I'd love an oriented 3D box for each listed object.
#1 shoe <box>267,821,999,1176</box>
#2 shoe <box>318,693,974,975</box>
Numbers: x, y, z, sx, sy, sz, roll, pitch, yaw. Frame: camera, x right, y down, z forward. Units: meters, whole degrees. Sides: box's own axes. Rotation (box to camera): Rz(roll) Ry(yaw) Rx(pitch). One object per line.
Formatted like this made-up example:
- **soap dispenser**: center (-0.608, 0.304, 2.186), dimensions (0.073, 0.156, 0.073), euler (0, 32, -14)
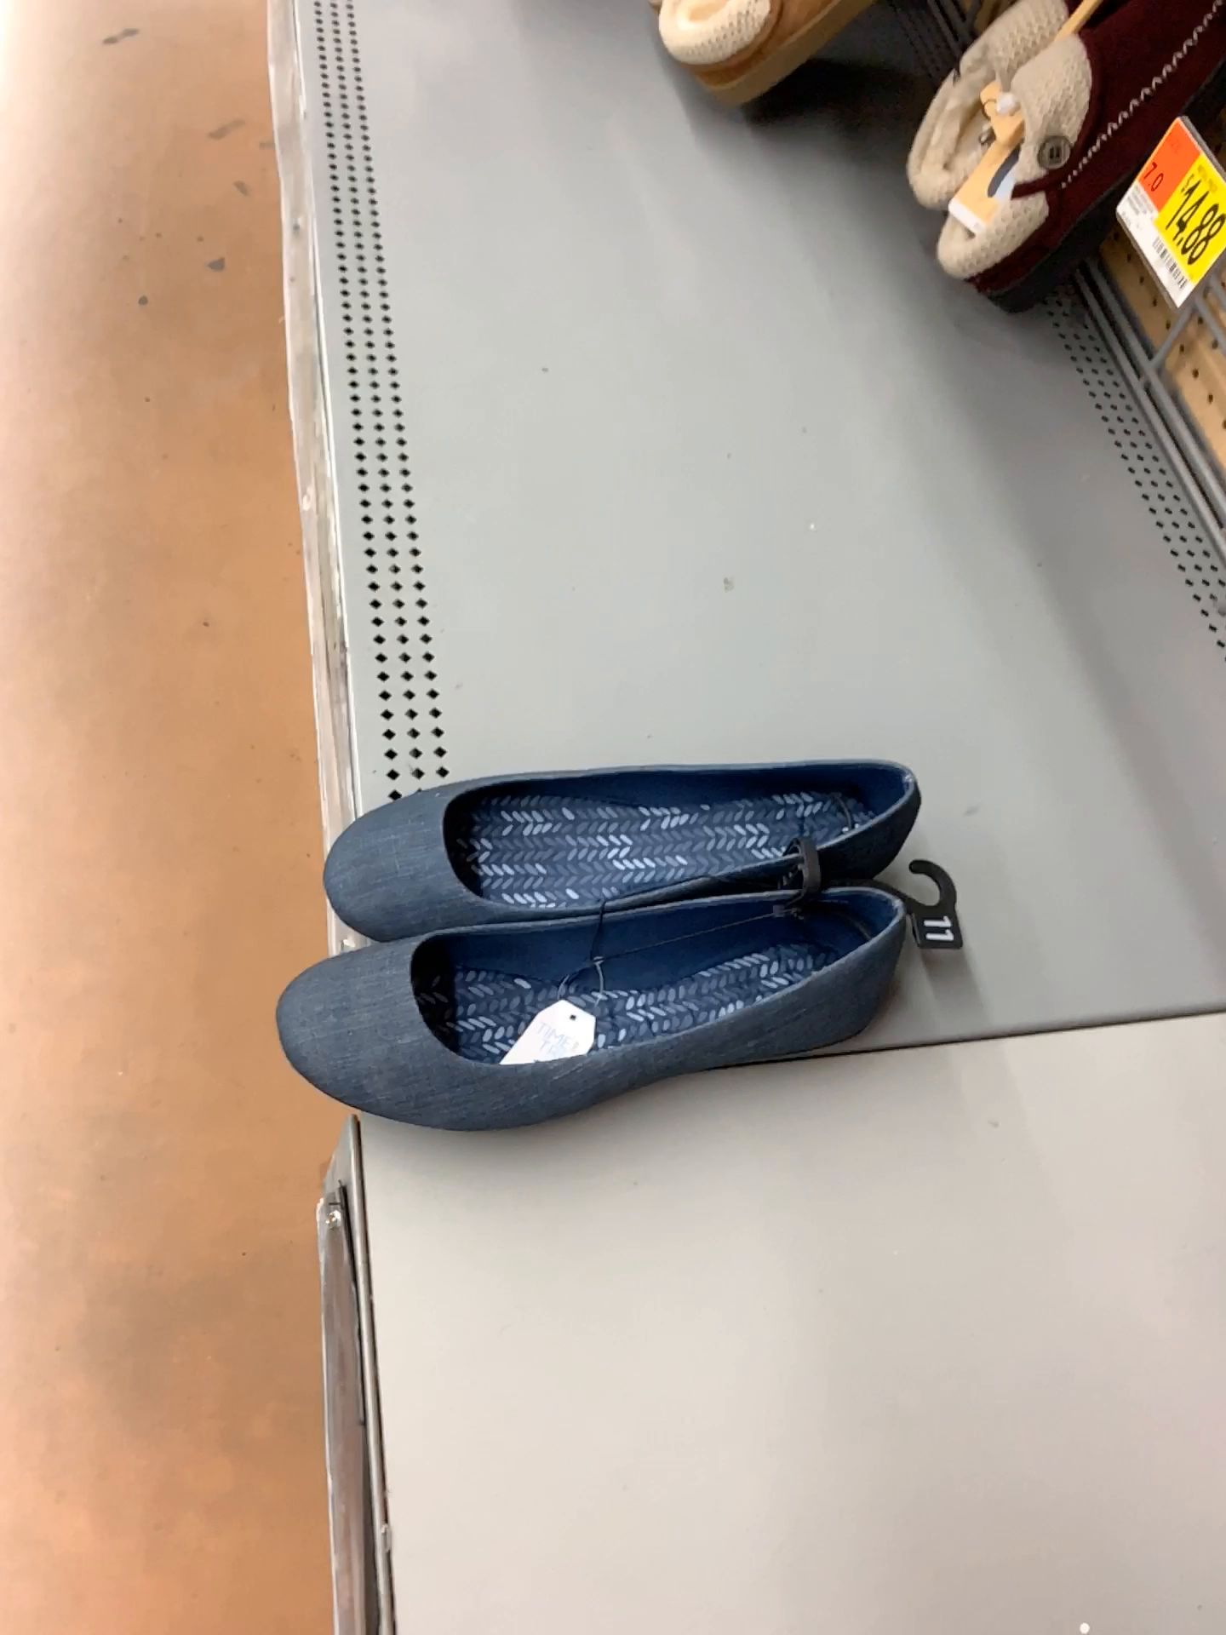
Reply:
- **shoe**: center (0.003, 0.073, 0.530), dimensions (0.280, 0.090, 0.090), euler (-4, 52, -13)
- **shoe**: center (0.009, 0.008, 0.585), dimensions (0.280, 0.090, 0.090), euler (0, 54, -11)
